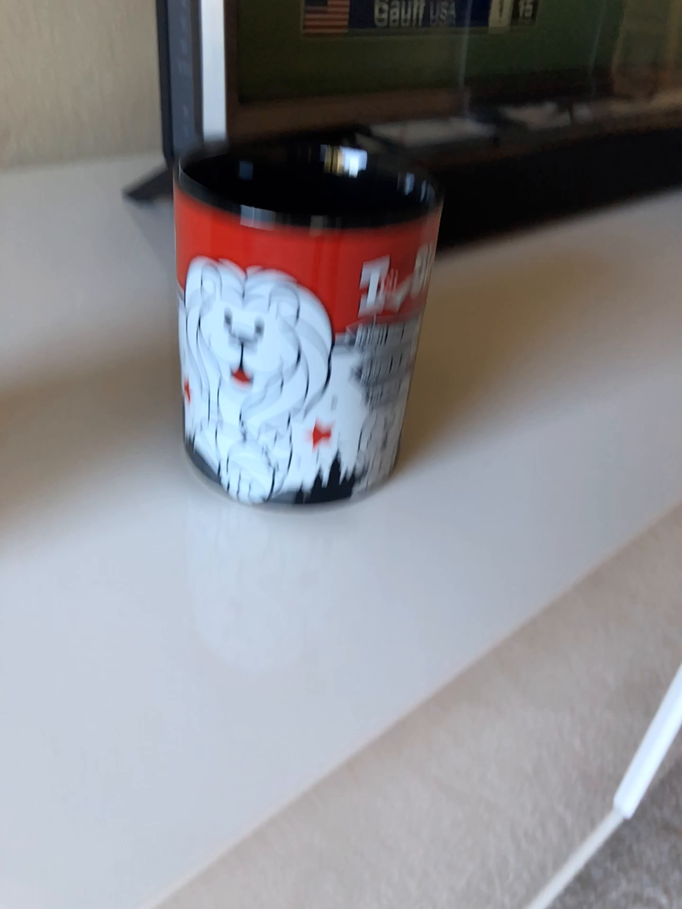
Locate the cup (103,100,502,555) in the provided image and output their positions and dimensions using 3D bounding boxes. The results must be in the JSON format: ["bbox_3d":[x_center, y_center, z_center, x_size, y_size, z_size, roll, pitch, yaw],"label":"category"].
[{"bbox_3d":[-0.008,-0.054,0.275,0.080,0.109,0.121,19,36,18],"label":"cup"}]
